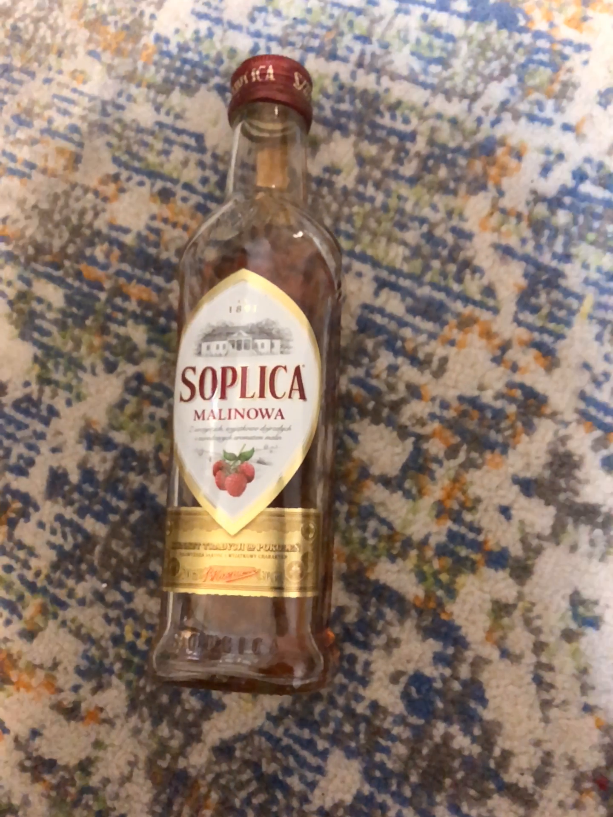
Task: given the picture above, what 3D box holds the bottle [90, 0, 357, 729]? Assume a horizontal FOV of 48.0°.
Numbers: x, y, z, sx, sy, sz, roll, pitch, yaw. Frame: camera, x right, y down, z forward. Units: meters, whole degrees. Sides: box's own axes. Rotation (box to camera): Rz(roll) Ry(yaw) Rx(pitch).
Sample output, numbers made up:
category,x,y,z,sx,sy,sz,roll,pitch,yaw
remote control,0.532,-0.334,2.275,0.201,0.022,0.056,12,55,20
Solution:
category,x,y,z,sx,sy,sz,roll,pitch,yaw
bottle,-0.019,-0.023,0.209,0.060,0.040,0.210,-1,79,12
